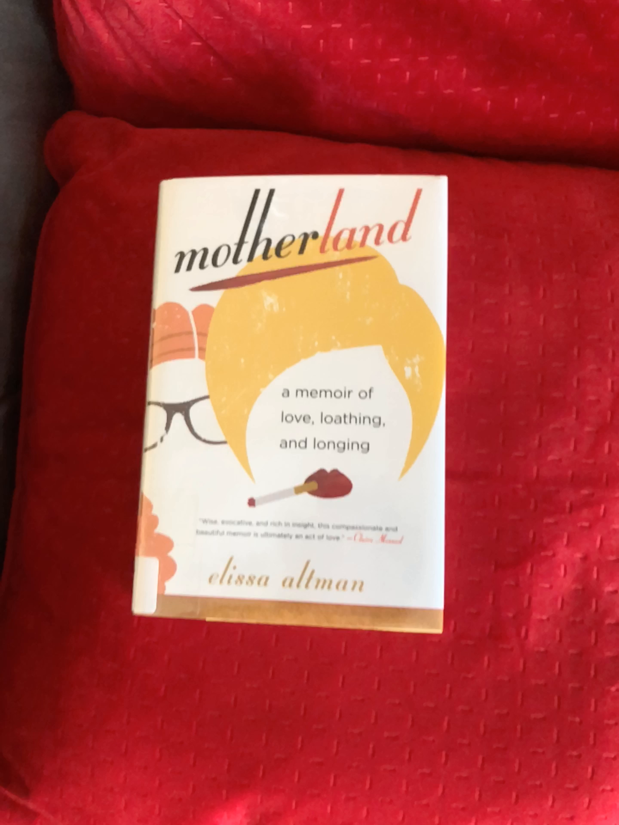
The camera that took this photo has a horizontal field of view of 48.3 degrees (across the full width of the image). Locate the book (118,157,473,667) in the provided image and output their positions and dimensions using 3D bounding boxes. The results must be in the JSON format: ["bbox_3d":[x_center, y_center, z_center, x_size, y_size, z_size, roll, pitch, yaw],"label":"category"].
[{"bbox_3d":[-0.003,-0.004,0.307,0.140,0.040,0.210,2,83,4],"label":"book"}]
